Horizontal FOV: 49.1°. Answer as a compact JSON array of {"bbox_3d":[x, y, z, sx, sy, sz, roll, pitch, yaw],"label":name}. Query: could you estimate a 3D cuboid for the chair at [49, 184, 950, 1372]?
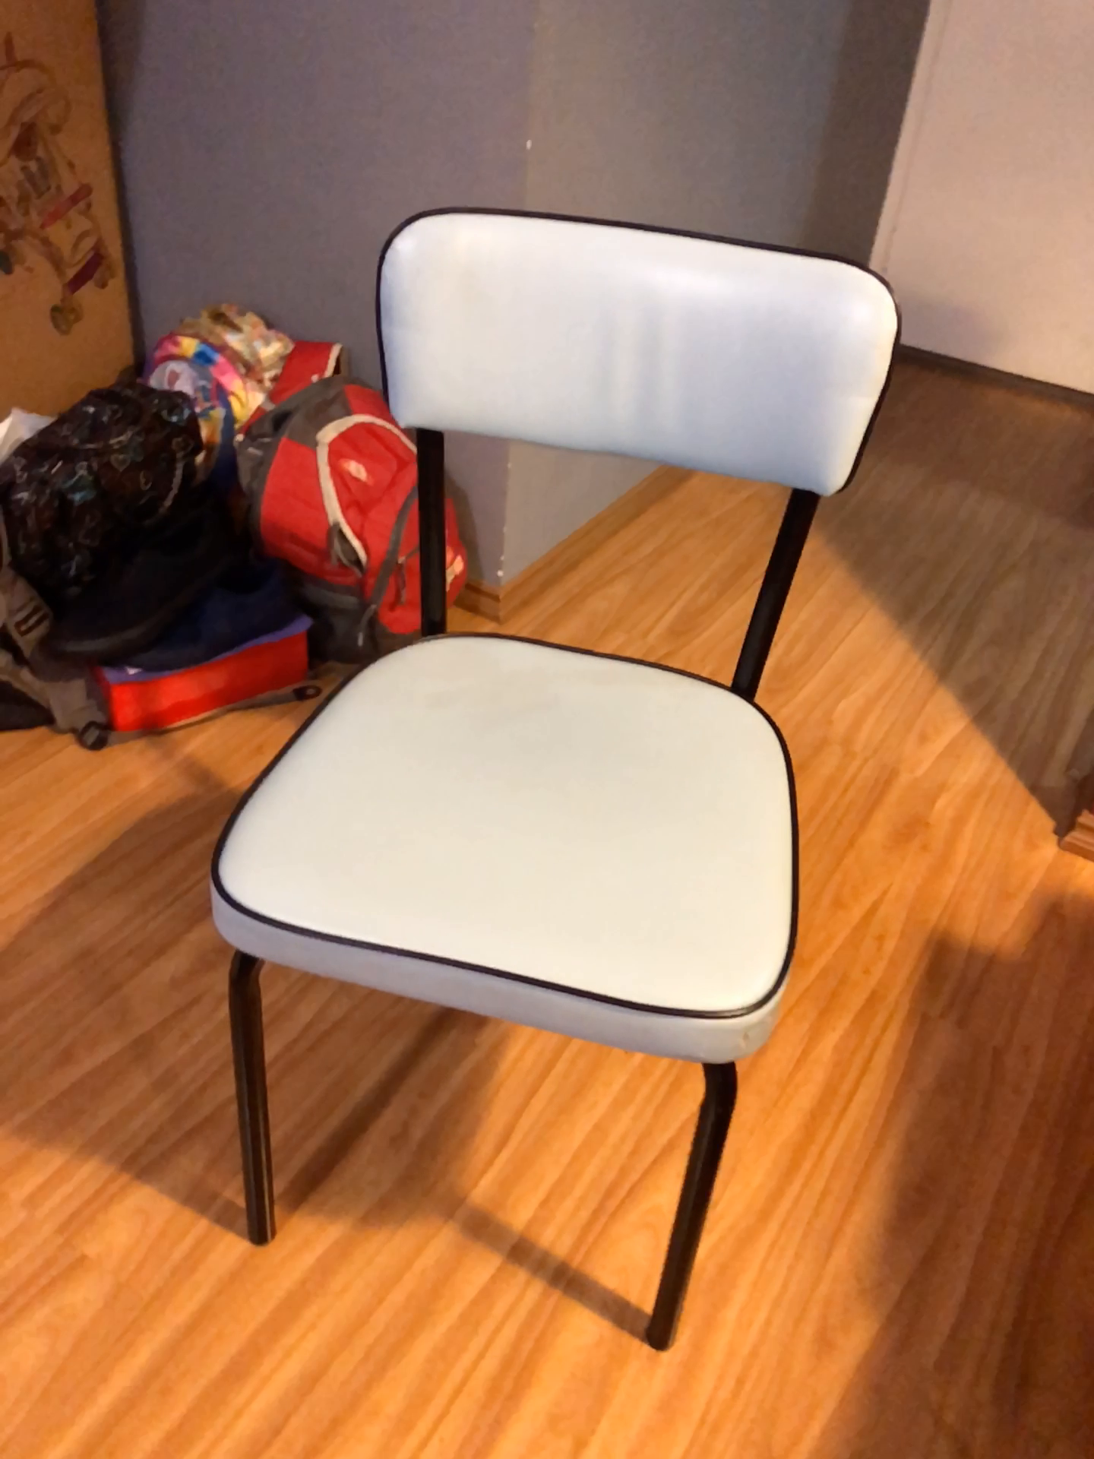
[{"bbox_3d":[-0.006,0.047,1.016,0.450,0.794,0.504,11,38,8],"label":"chair"}]
